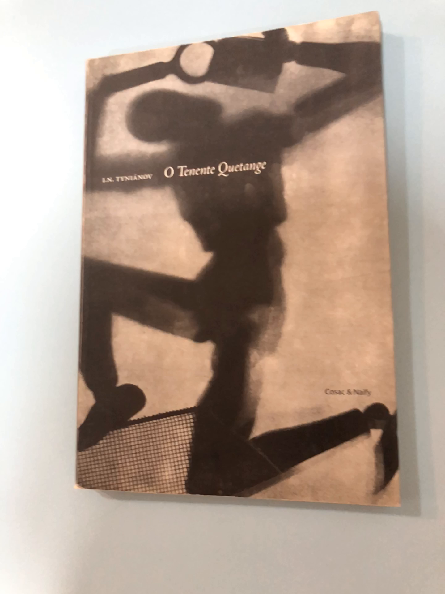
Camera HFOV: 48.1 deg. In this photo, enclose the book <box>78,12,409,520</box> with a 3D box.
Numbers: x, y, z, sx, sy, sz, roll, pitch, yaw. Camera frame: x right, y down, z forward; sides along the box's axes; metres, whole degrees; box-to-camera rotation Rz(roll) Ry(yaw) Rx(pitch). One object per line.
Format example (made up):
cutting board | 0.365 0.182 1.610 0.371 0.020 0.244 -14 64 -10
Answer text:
book | 0.005 -0.014 0.215 0.134 0.016 0.196 -1 85 14
